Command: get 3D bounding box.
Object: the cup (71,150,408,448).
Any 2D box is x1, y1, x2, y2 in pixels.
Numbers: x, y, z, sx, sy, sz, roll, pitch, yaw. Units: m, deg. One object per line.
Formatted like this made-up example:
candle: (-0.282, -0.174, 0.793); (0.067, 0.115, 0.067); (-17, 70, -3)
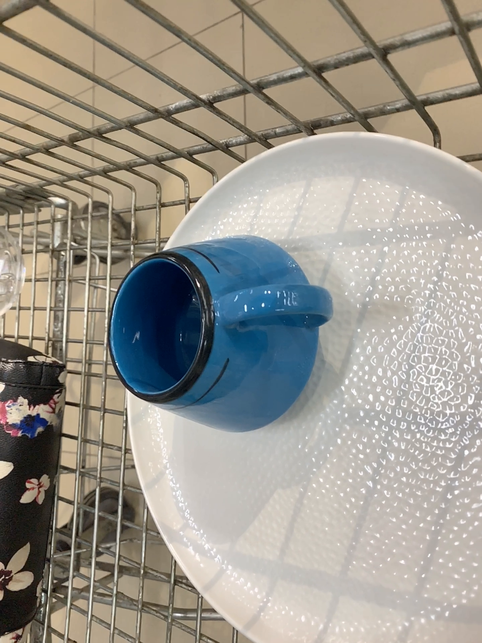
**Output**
cup: (-0.004, 0.001, 0.253); (0.131, 0.090, 0.100); (-16, 77, 33)
